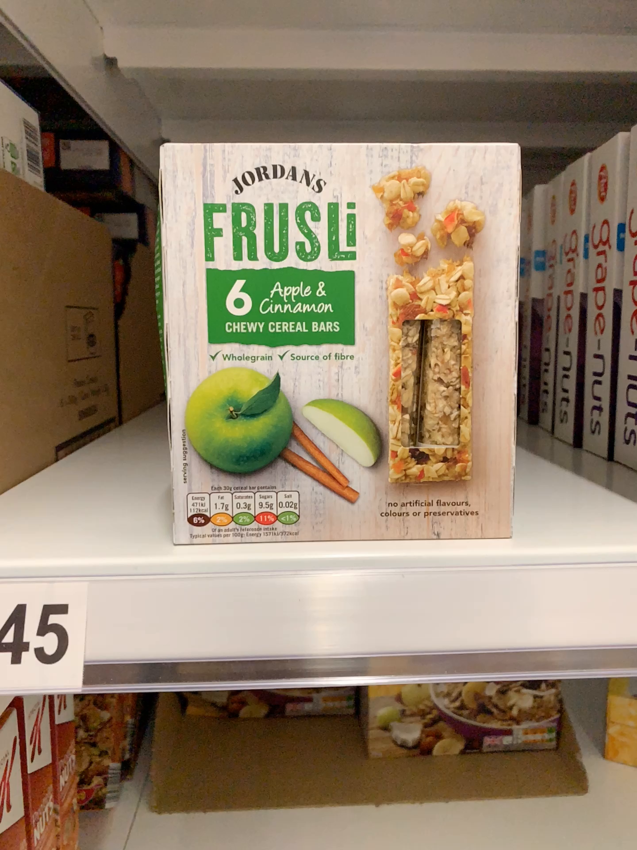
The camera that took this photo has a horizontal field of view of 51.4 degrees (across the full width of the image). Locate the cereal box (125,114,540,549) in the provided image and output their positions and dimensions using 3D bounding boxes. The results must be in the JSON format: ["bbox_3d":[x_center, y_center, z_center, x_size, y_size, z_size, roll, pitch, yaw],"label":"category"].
[{"bbox_3d":[0.005,-0.036,0.274,0.150,0.160,0.050,-1,7,-3],"label":"cereal box"}]
